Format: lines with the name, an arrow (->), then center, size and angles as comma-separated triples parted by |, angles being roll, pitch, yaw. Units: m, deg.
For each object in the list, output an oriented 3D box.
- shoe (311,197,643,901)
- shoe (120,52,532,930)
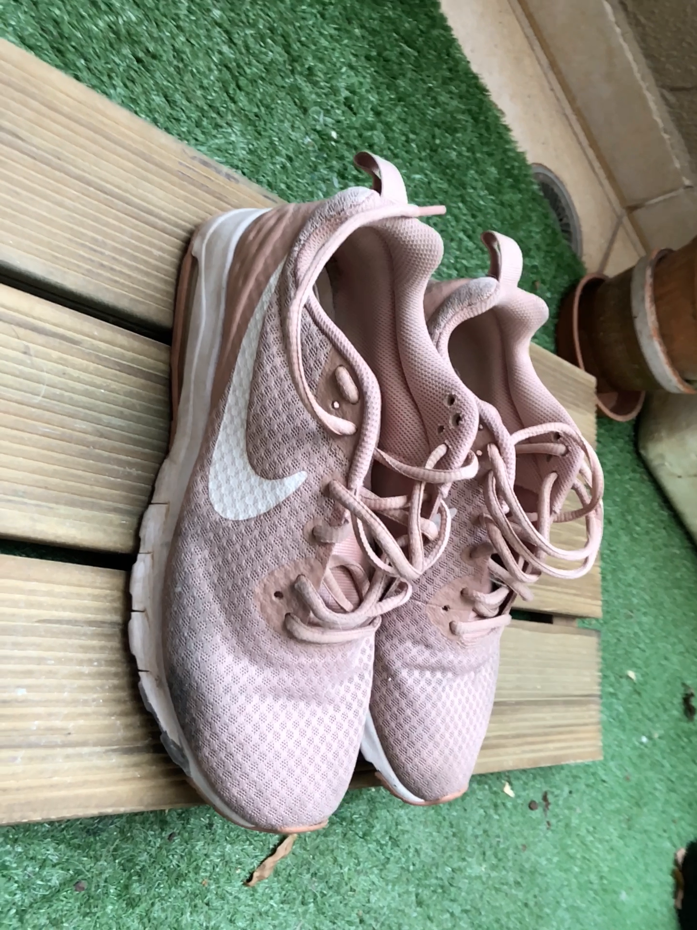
shoe -> 0.057, 0.032, 0.357 | 0.111, 0.089, 0.260 | 5, 80, -44
shoe -> -0.008, 0.014, 0.285 | 0.111, 0.089, 0.260 | 7, 79, -43
